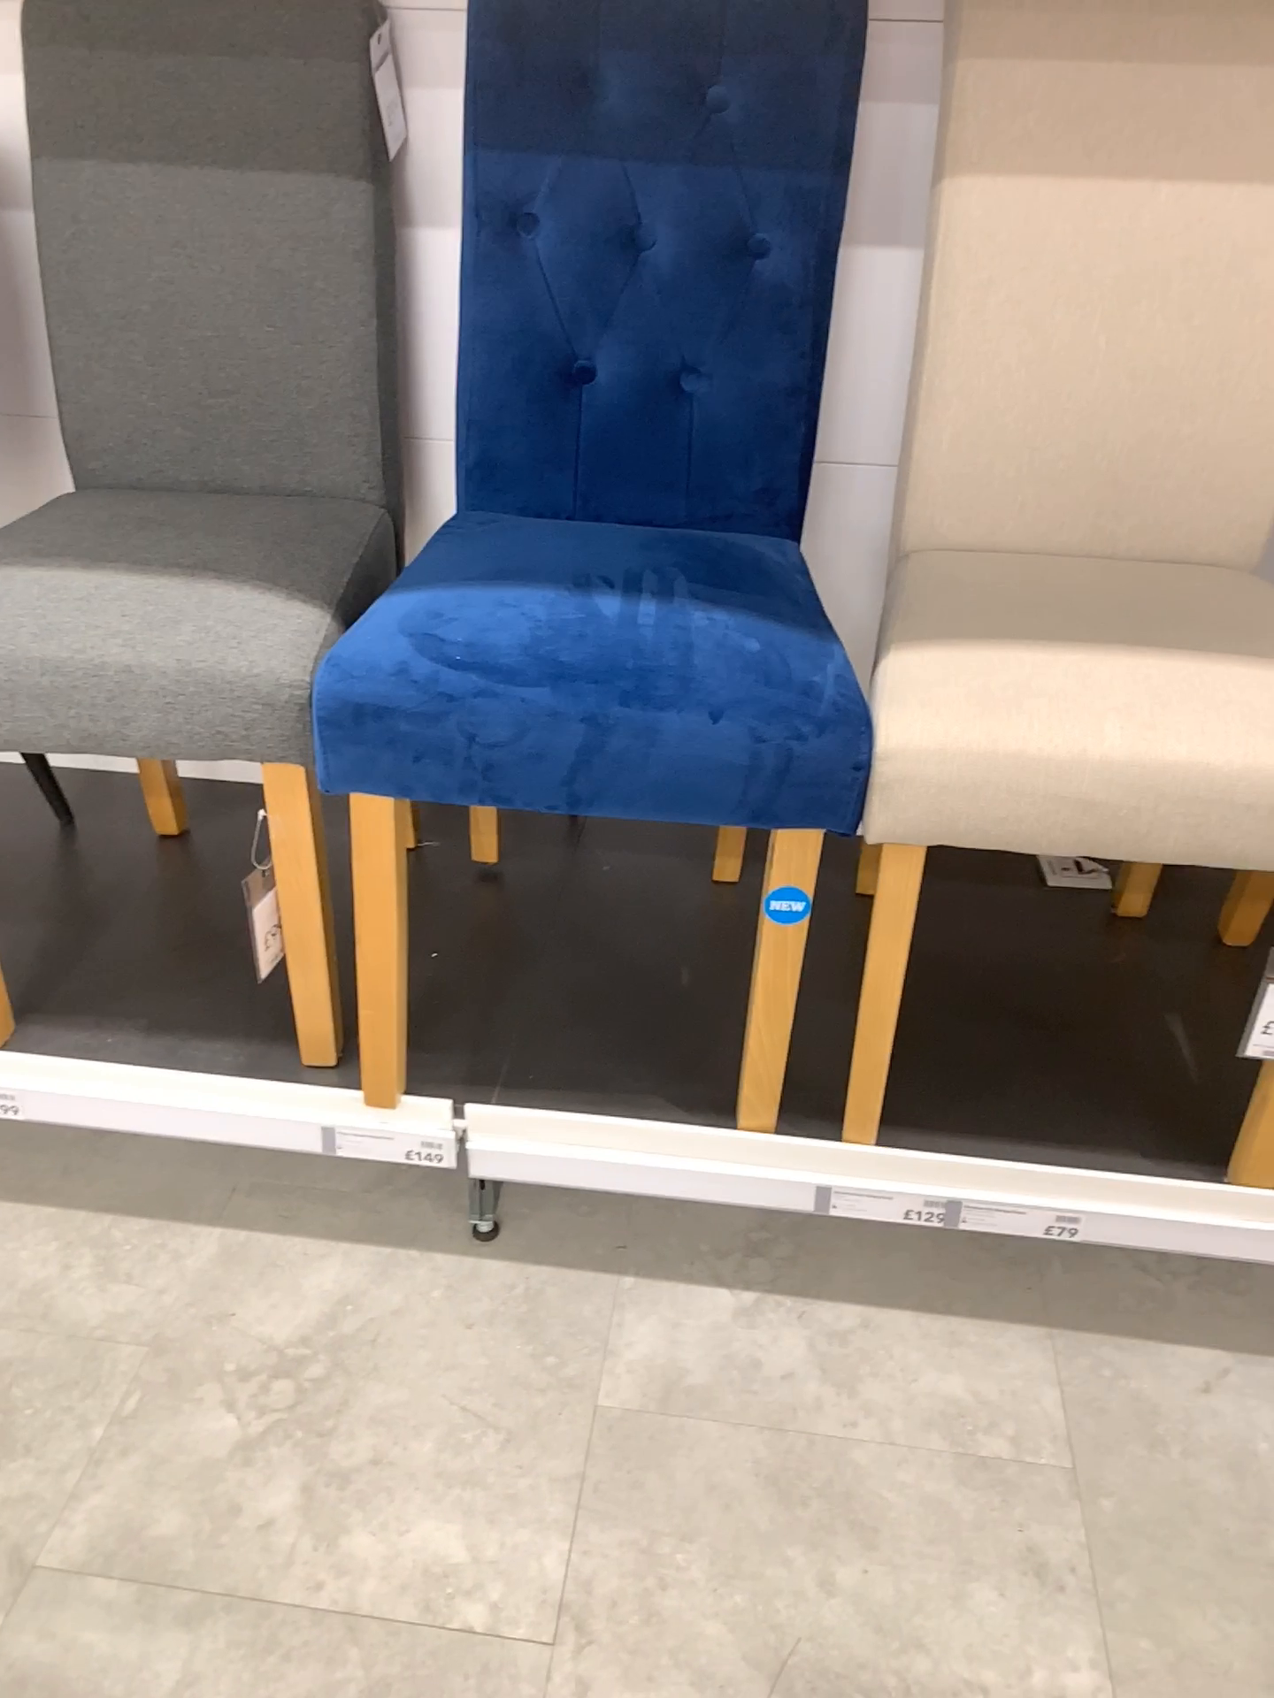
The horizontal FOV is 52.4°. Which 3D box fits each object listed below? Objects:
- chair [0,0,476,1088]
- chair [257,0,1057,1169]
[{"bbox_3d":[-0.418,-0.326,1.279,0.413,0.889,0.625,3,32,1],"label":"chair"},{"bbox_3d":[0.009,-0.261,1.166,0.433,0.929,0.524,5,33,3],"label":"chair"}]
